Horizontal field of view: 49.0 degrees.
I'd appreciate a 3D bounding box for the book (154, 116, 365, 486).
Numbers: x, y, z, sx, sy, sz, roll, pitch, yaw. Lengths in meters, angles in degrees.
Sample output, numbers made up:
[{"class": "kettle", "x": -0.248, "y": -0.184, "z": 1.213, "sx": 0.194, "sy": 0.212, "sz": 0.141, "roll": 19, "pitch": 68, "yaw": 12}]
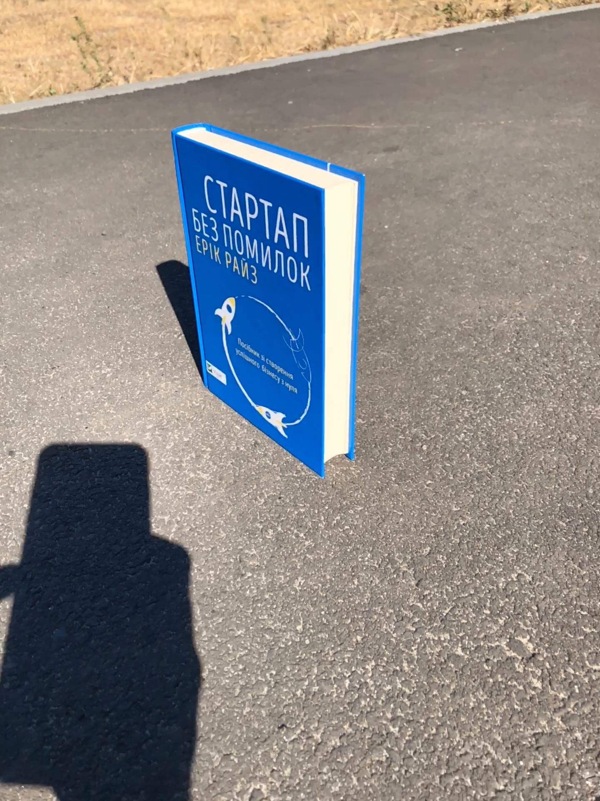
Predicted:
[{"class": "book", "x": -0.029, "y": -0.067, "z": 0.444, "sx": 0.038, "sy": 0.204, "sz": 0.155, "roll": -26, "pitch": 42, "yaw": -32}]
